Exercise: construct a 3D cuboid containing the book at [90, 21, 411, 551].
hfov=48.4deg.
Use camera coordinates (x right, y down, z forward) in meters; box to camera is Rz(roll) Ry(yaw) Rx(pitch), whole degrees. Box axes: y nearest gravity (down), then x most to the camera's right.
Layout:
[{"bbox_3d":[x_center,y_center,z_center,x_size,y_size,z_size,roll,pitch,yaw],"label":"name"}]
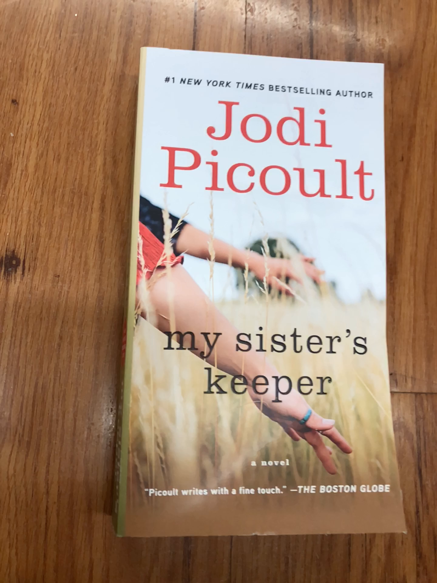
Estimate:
[{"bbox_3d":[0.013,-0.005,0.199,0.110,0.040,0.190,3,80,-8],"label":"book"}]
